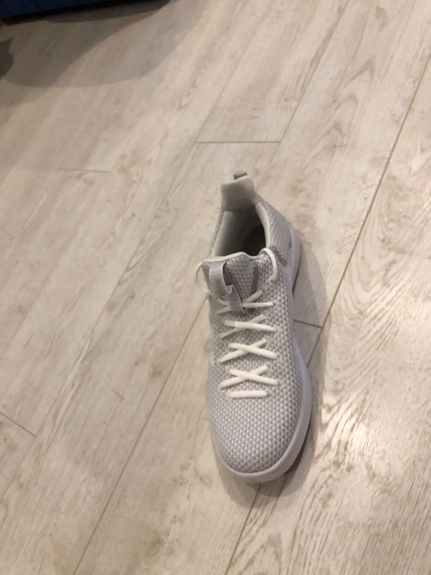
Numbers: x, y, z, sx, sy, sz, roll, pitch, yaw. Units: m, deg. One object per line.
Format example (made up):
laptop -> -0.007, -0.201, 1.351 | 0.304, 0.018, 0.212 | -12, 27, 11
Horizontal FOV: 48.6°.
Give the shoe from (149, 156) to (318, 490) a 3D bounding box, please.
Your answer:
shoe -> 0.030, 0.031, 0.464 | 0.100, 0.109, 0.291 | -11, 57, 27
